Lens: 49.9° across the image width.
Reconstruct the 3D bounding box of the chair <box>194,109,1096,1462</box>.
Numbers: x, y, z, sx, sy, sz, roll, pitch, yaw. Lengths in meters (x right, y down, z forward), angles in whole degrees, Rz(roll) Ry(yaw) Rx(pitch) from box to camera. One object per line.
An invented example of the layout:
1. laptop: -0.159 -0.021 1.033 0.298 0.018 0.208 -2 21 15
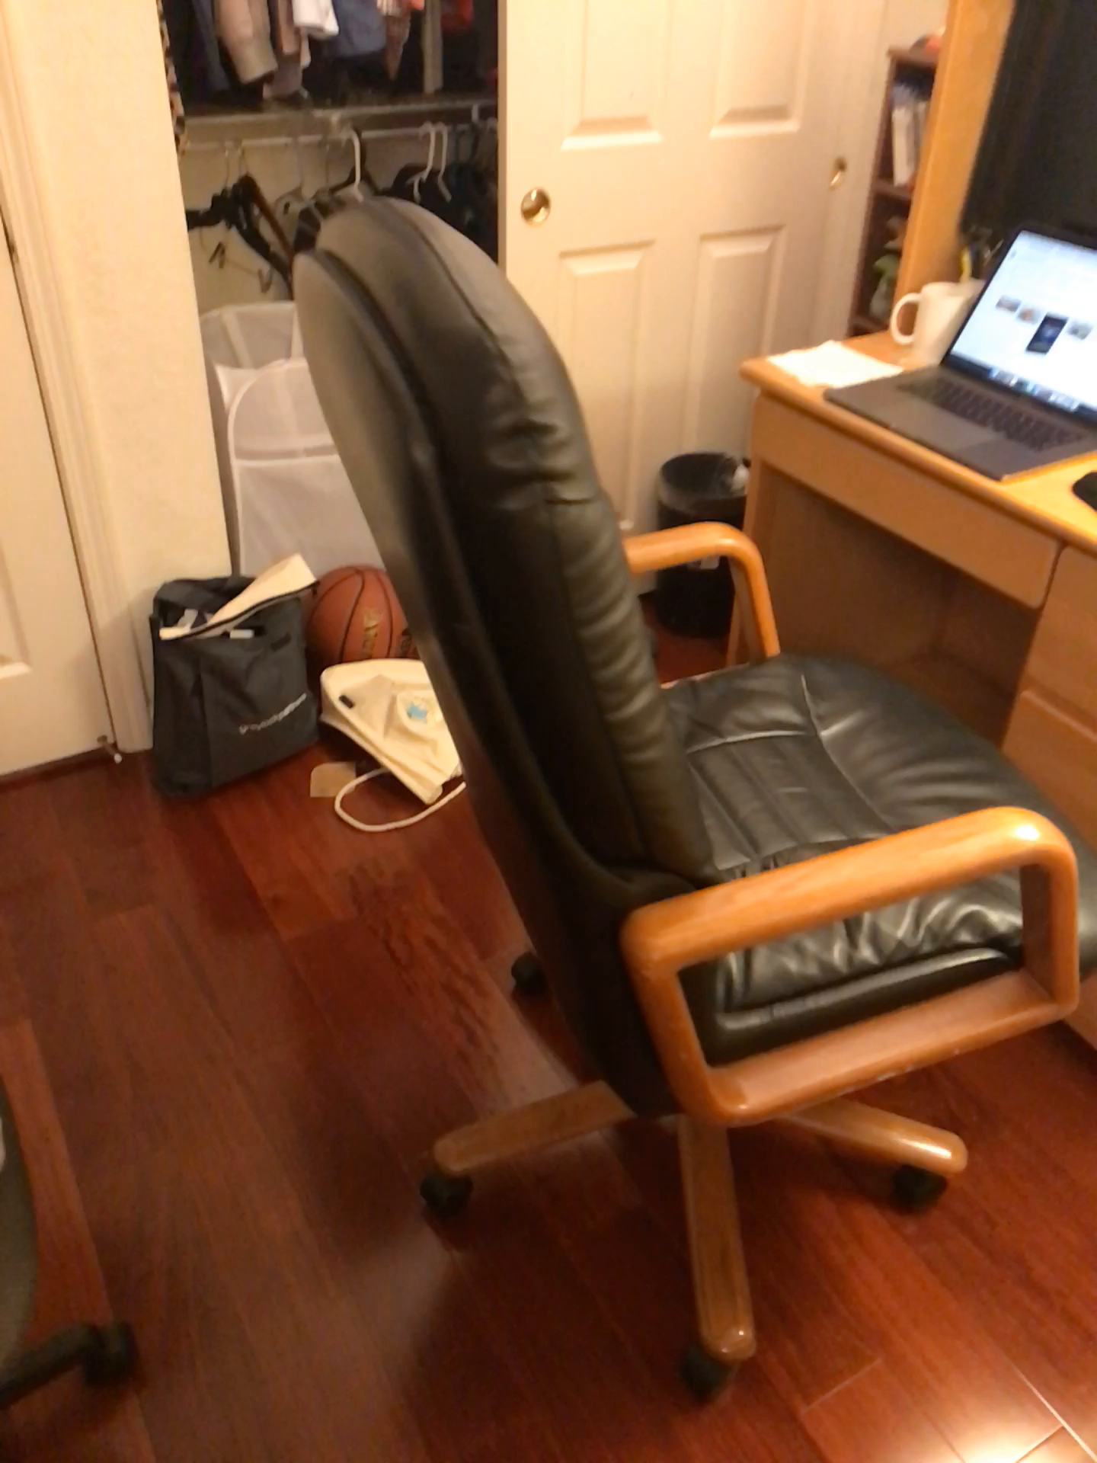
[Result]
1. chair: 0.141 0.001 1.366 0.851 1.141 0.996 -9 37 -15
